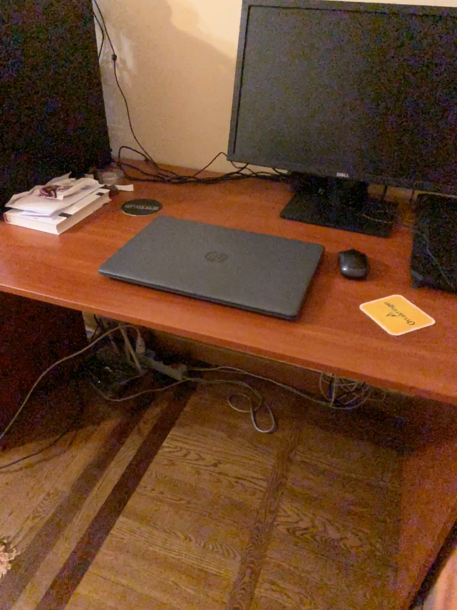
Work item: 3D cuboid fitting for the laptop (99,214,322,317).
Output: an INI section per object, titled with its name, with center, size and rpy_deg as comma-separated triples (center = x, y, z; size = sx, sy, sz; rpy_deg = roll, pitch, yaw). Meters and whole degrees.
[laptop]
center = -0.025, -0.093, 0.891
size = 0.369, 0.005, 0.248
rpy_deg = 13, 38, 17
